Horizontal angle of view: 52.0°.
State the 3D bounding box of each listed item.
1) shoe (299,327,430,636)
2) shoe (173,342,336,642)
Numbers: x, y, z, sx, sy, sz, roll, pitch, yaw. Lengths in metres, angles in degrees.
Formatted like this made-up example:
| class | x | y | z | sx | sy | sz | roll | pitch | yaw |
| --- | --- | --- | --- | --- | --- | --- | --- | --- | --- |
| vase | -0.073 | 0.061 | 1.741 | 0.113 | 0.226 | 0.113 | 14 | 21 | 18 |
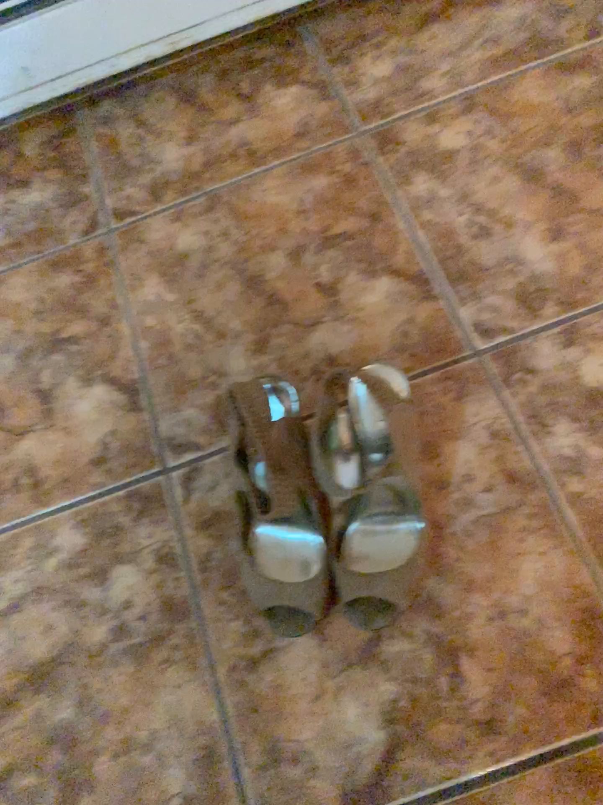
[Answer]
| class | x | y | z | sx | sy | sz | roll | pitch | yaw |
| --- | --- | --- | --- | --- | --- | --- | --- | --- | --- |
| shoe | 0.059 | 0.068 | 0.494 | 0.081 | 0.150 | 0.205 | -1 | 65 | 11 |
| shoe | -0.026 | 0.078 | 0.509 | 0.081 | 0.140 | 0.210 | -1 | 65 | 11 |
